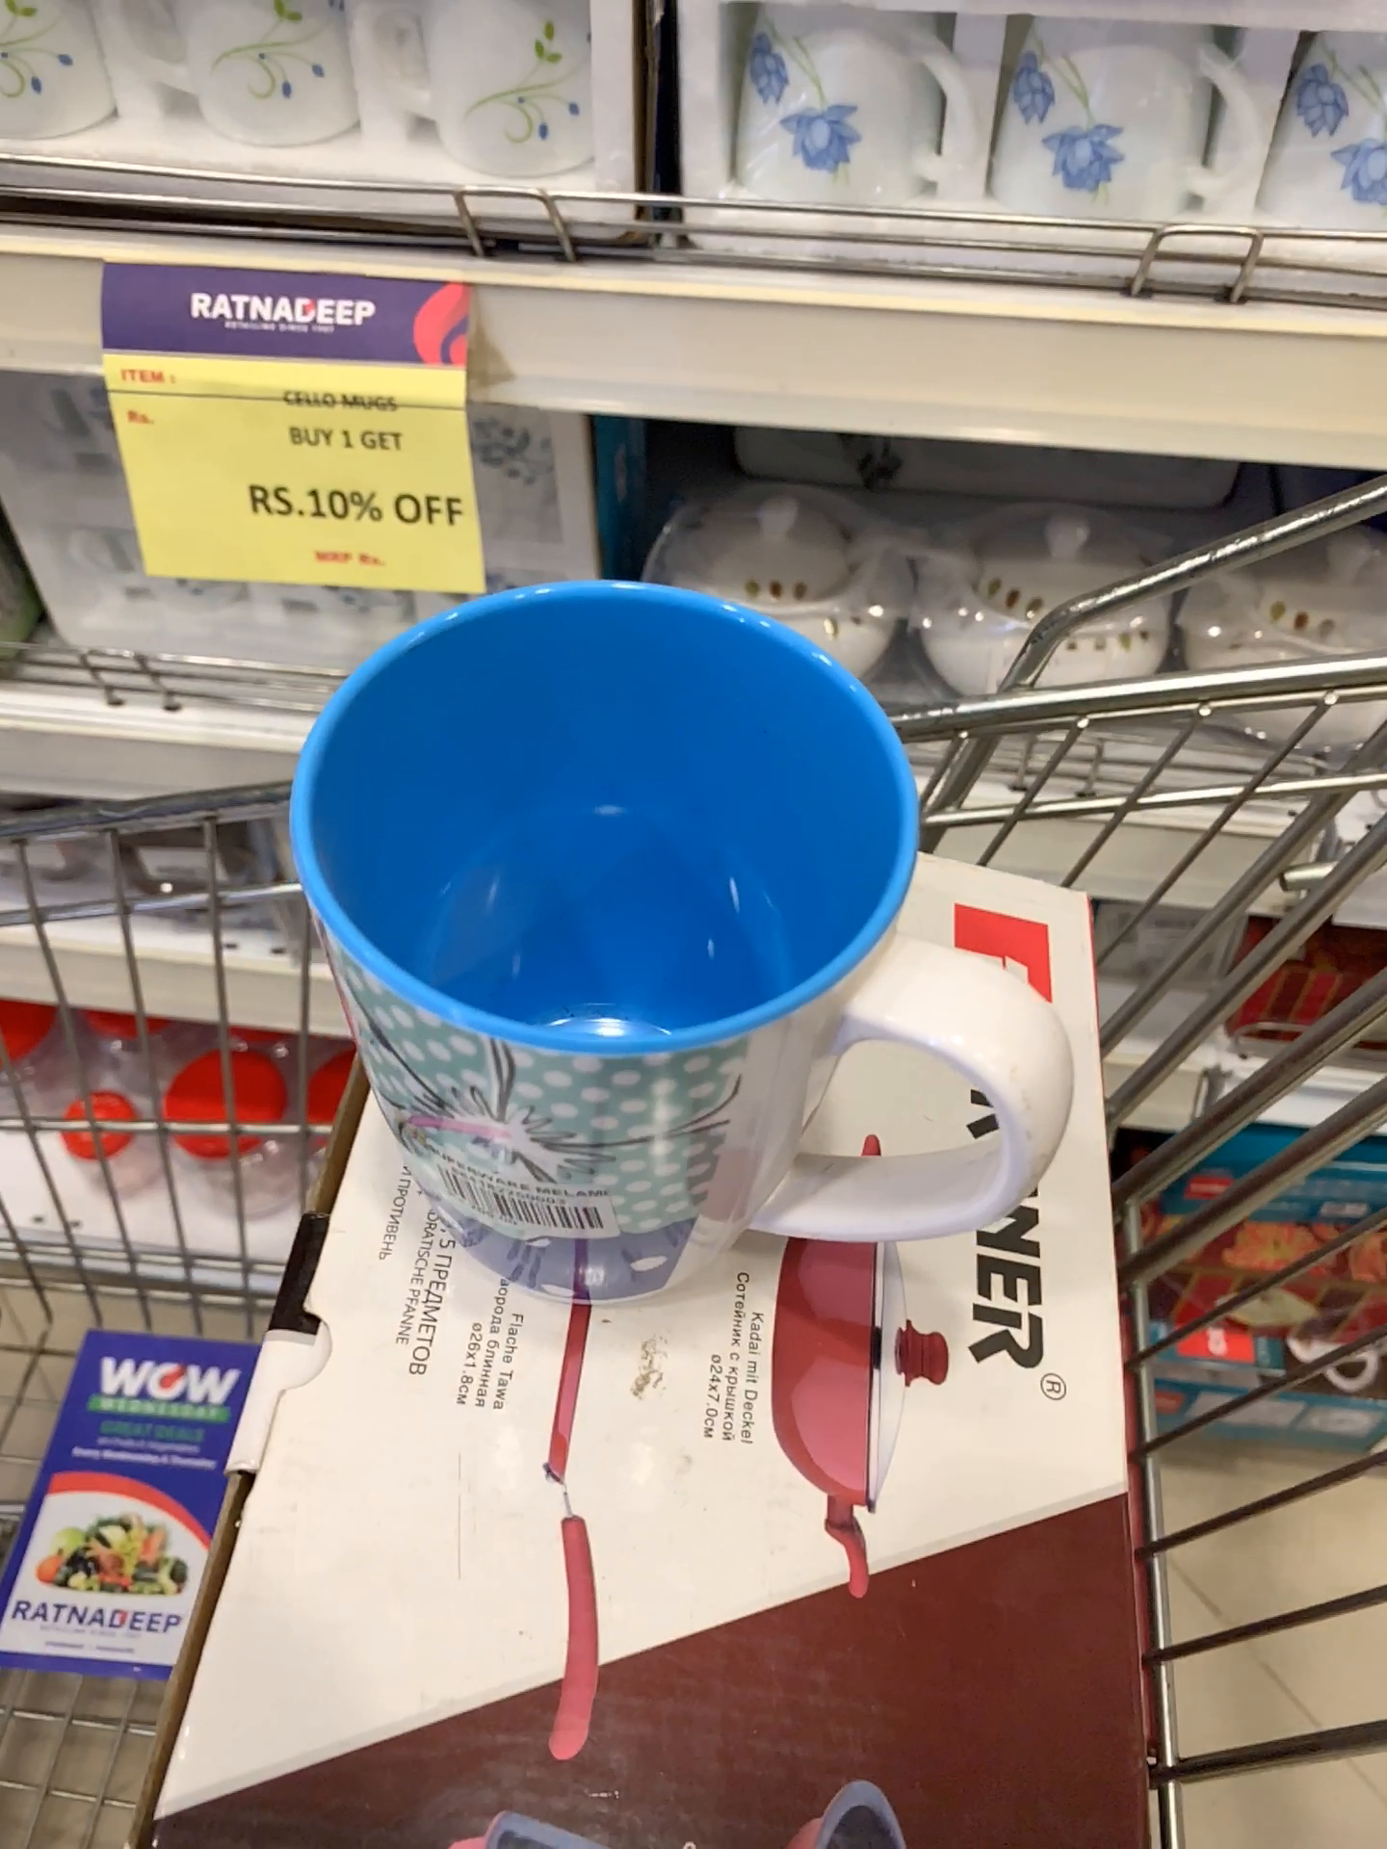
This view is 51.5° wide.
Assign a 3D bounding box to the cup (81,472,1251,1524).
[{"bbox_3d":[-0.001,0.013,0.214,0.120,0.100,0.080,20,55,11],"label":"cup"}]
